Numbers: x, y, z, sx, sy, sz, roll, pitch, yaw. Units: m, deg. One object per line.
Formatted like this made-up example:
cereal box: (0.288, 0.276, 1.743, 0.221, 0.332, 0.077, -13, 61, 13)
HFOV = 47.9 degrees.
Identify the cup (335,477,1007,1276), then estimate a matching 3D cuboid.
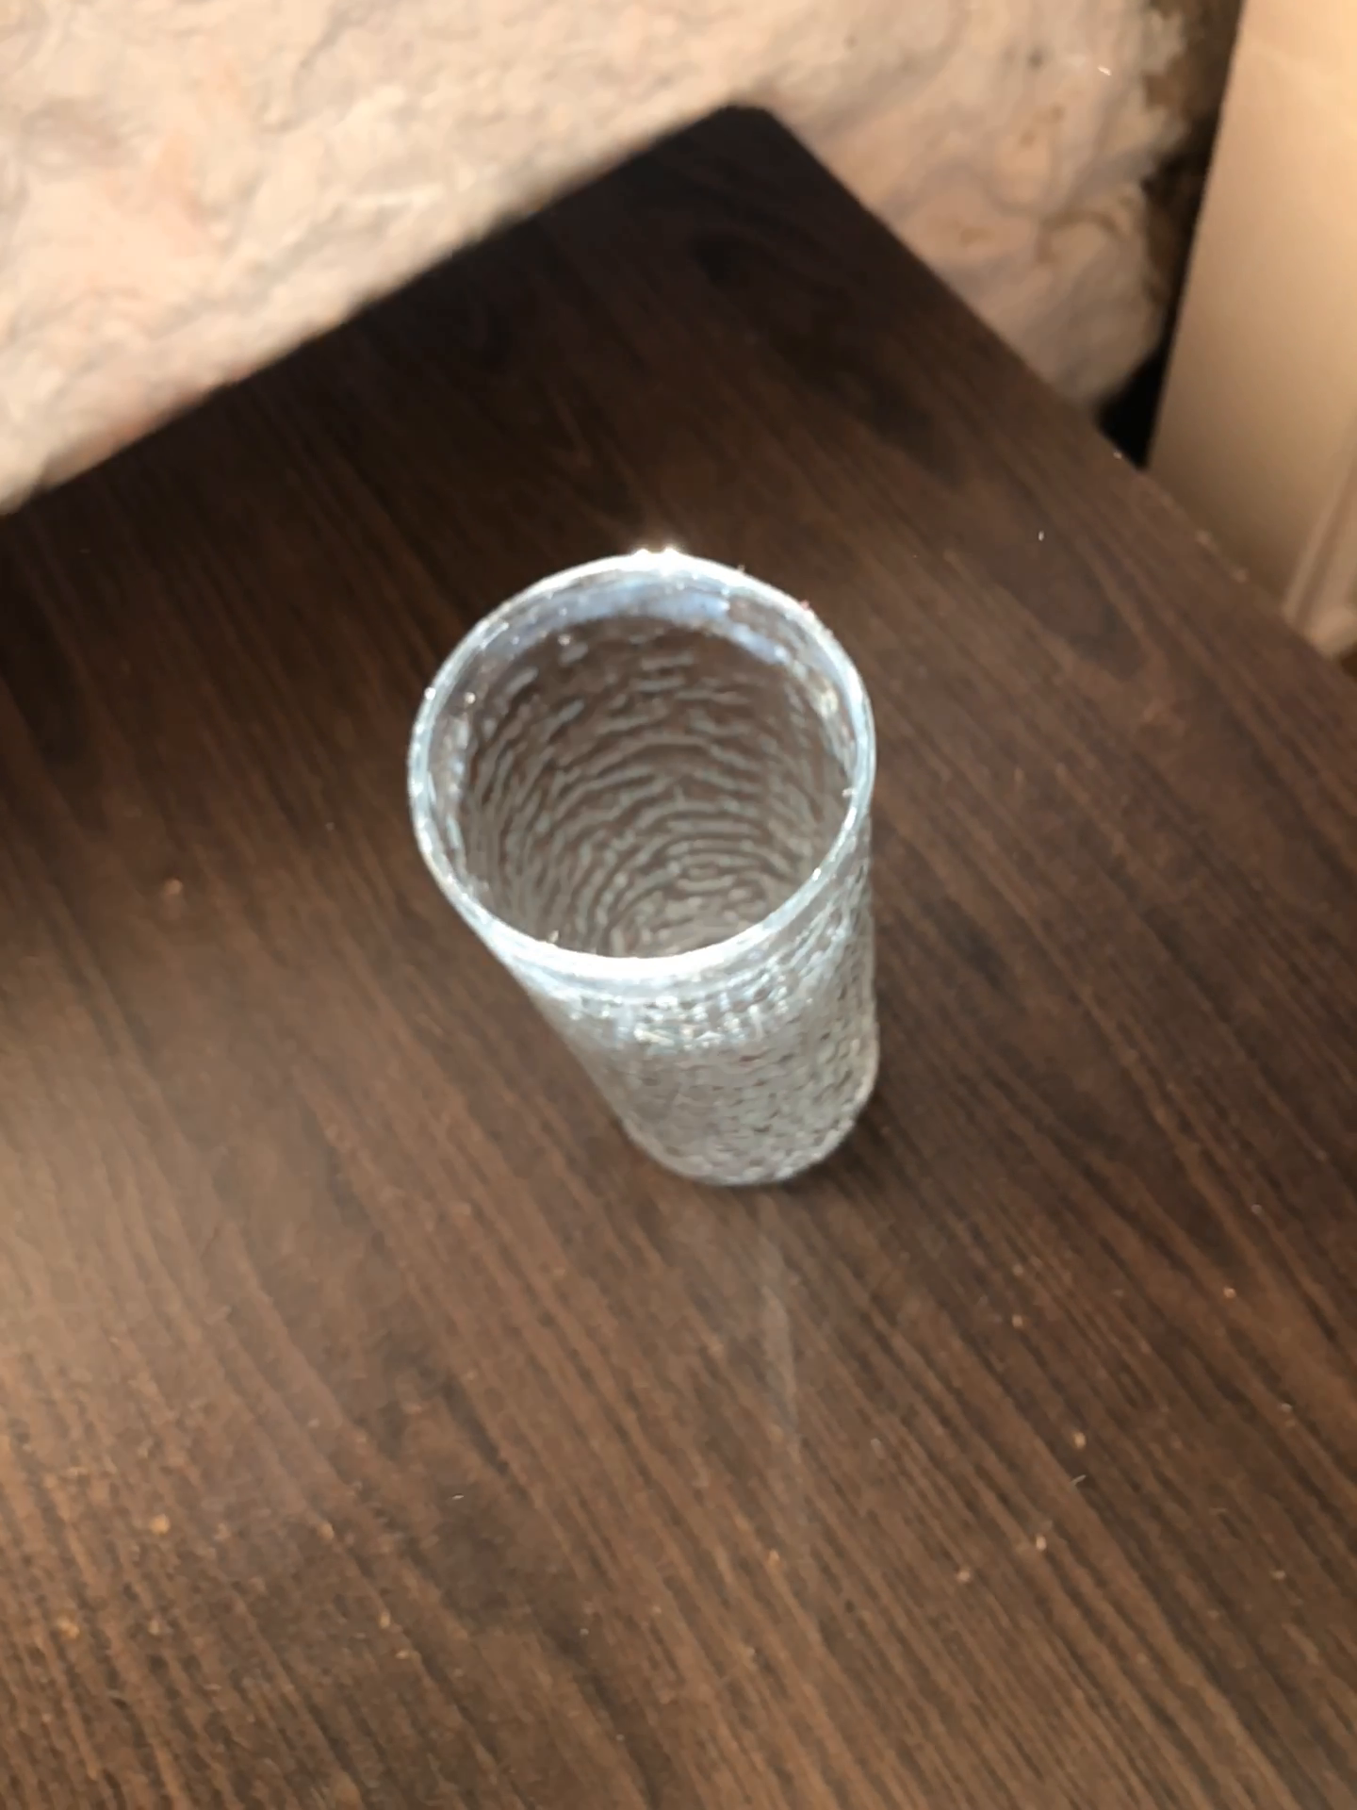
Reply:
cup: (0.005, 0.006, 0.266, 0.070, 0.131, 0.068, -3, 66, 7)
